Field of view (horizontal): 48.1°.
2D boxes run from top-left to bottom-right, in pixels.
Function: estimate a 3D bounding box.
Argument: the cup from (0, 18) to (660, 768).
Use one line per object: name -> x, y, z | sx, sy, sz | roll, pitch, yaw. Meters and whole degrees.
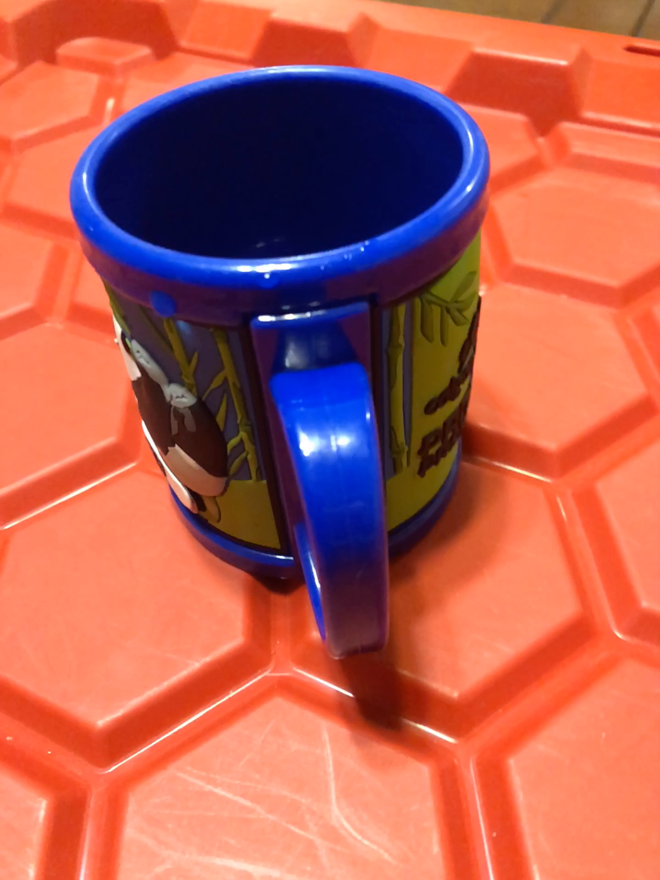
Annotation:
cup -> -0.006, -0.013, 0.166 | 0.090, 0.099, 0.121 | -10, 49, -3
